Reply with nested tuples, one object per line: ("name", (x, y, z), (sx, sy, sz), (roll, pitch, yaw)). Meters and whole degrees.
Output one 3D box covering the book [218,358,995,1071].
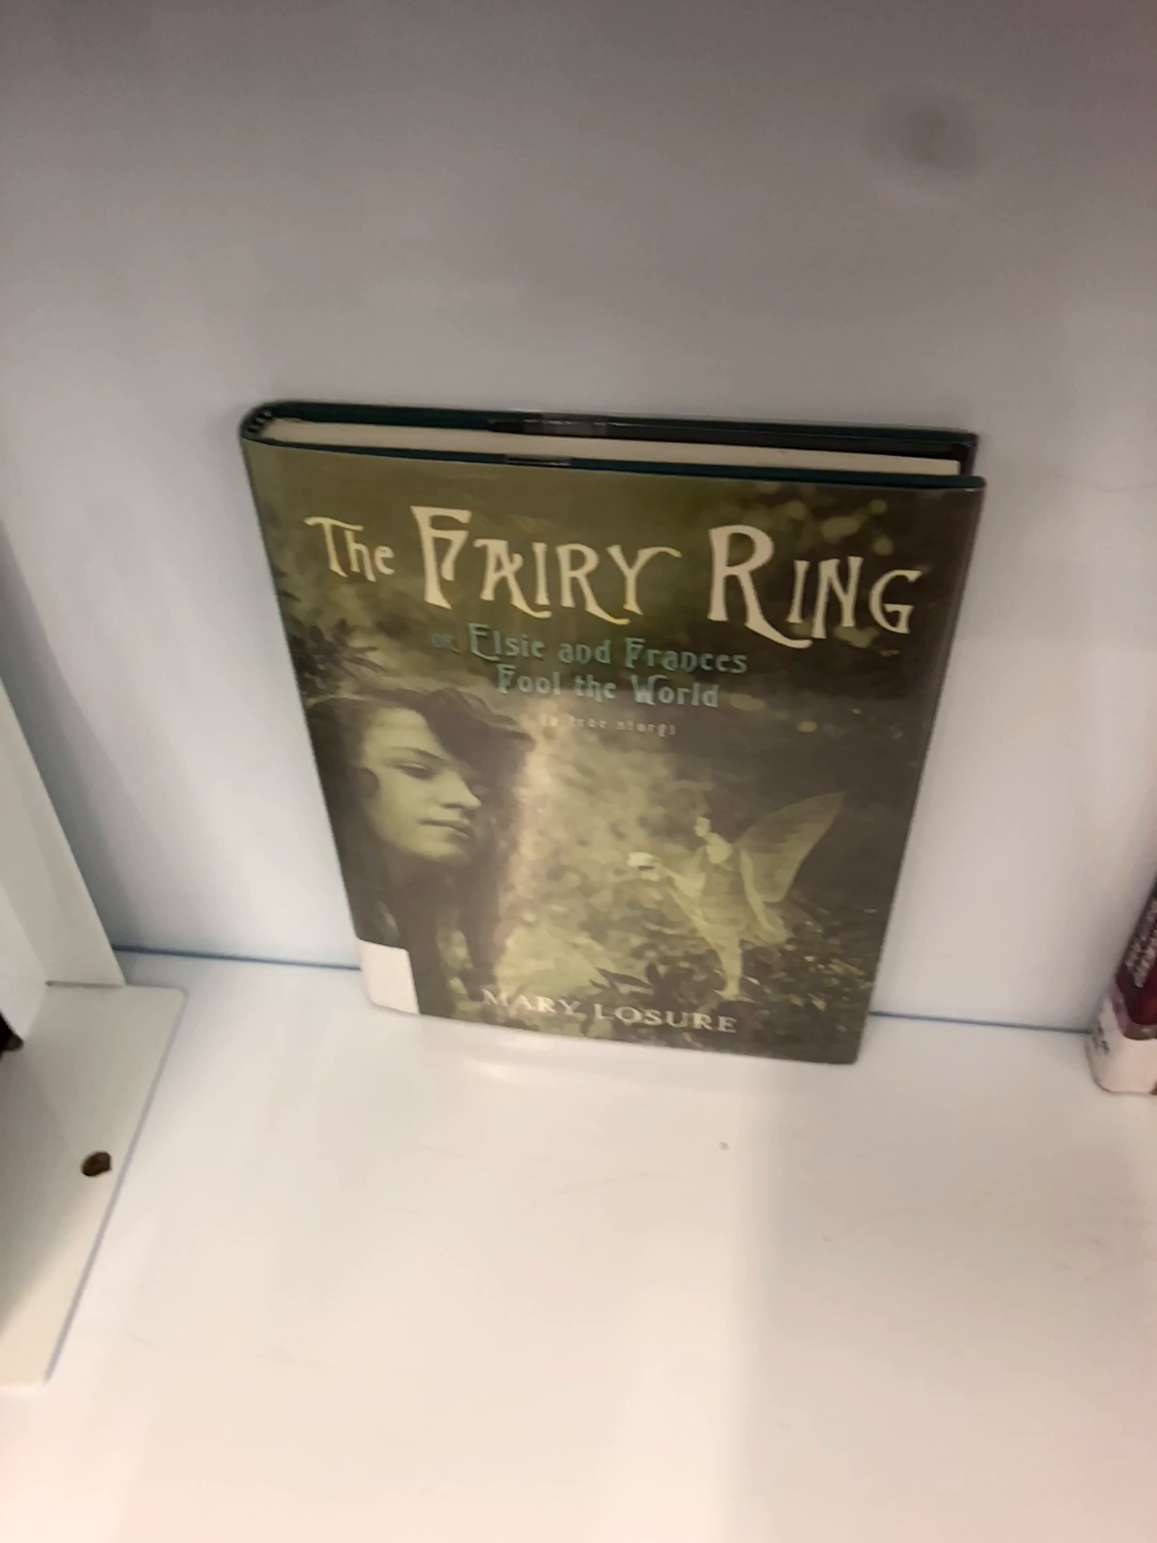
("book", (0.006, -0.002, 0.318), (0.150, 0.190, 0.028), (5, 42, 6))
